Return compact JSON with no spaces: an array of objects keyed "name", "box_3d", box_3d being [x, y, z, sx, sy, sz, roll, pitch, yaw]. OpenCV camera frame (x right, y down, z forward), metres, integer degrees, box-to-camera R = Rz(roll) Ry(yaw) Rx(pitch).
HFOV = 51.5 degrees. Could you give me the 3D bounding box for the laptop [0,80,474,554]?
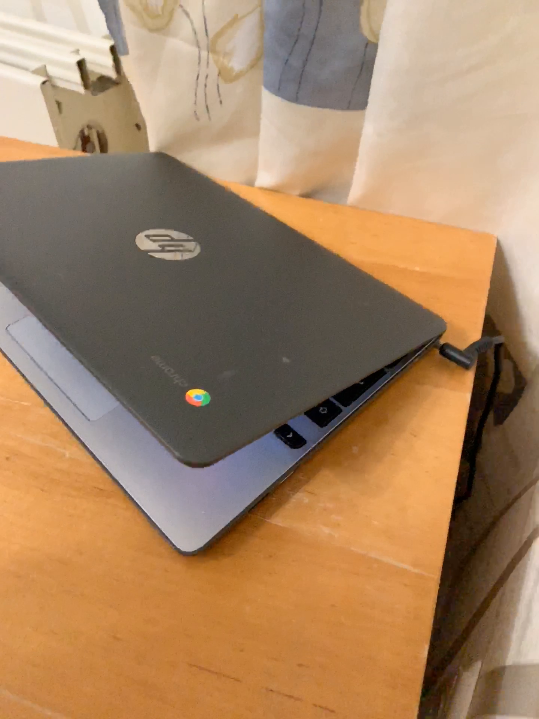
[{"name":"laptop","box_3d":[-0.058,-0.060,0.327,0.191,0.066,0.269,-36,58,-27]}]
